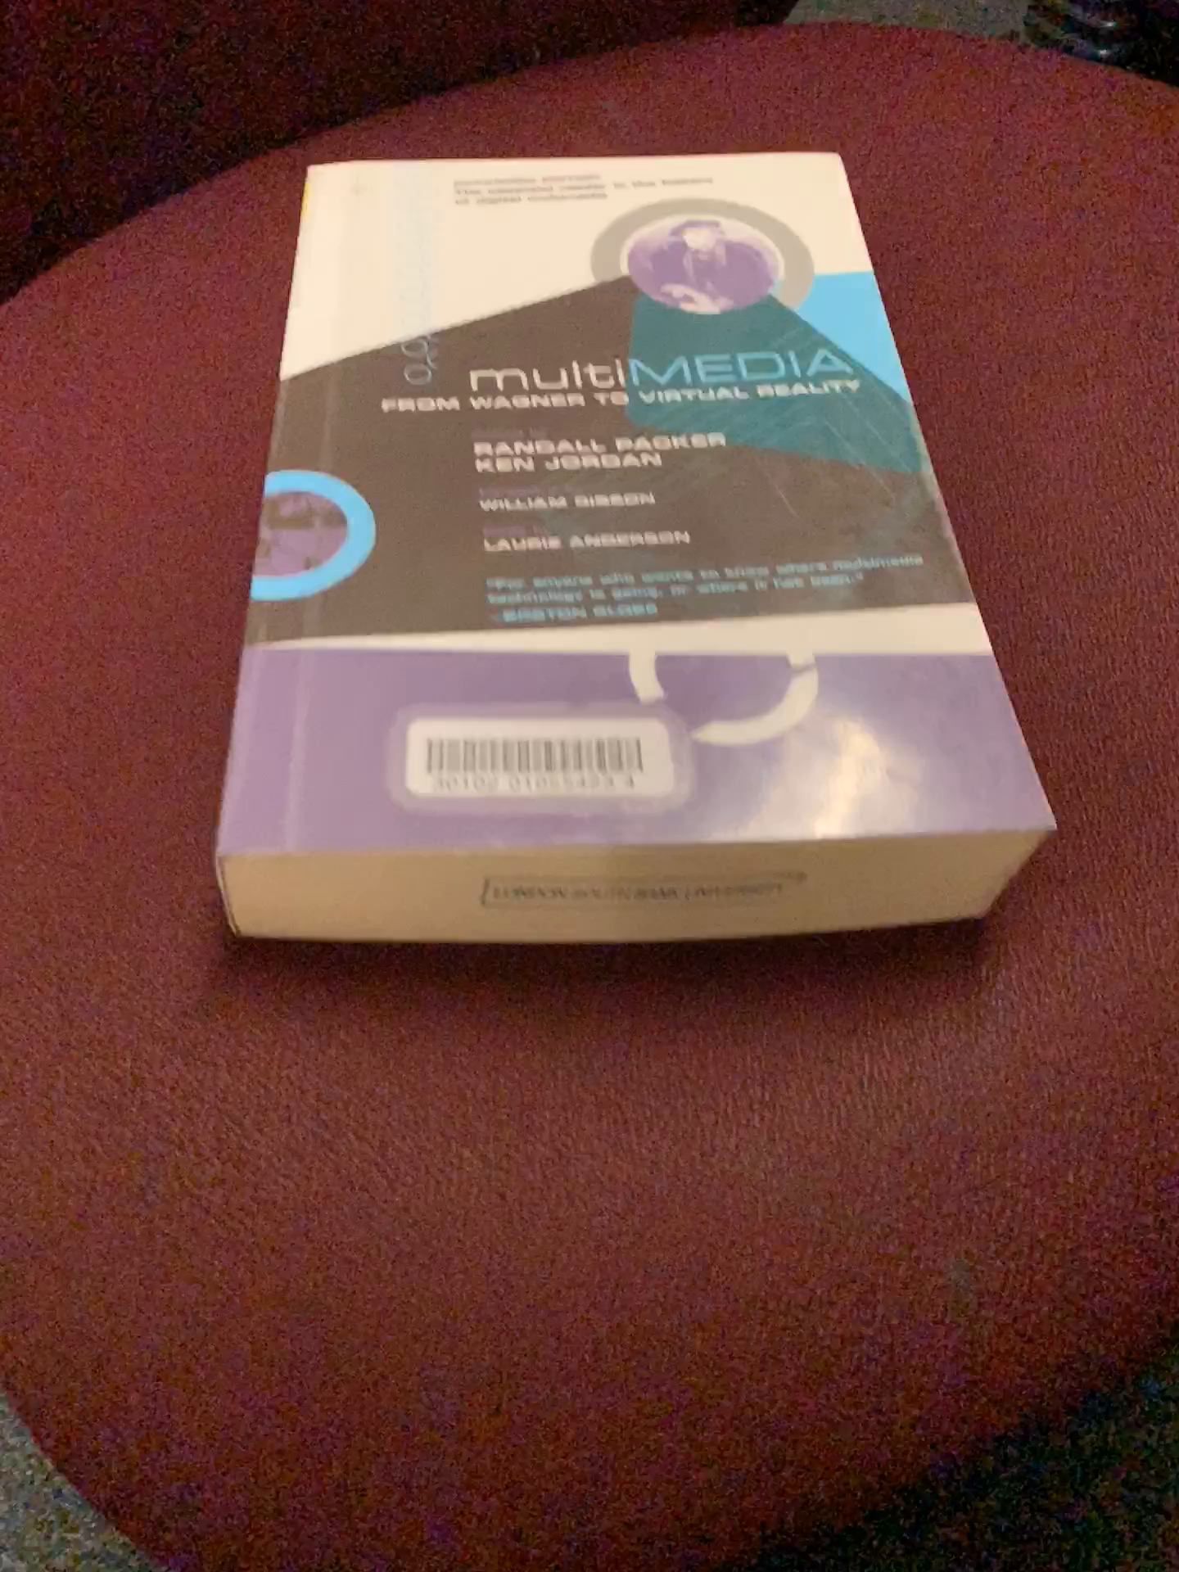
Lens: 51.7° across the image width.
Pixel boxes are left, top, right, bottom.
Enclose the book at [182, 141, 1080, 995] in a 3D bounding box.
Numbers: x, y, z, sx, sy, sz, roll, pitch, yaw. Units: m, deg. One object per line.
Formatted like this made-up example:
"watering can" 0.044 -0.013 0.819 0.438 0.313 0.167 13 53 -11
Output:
"book" 0.000 -0.075 0.304 0.160 0.040 0.249 -3 55 -2
